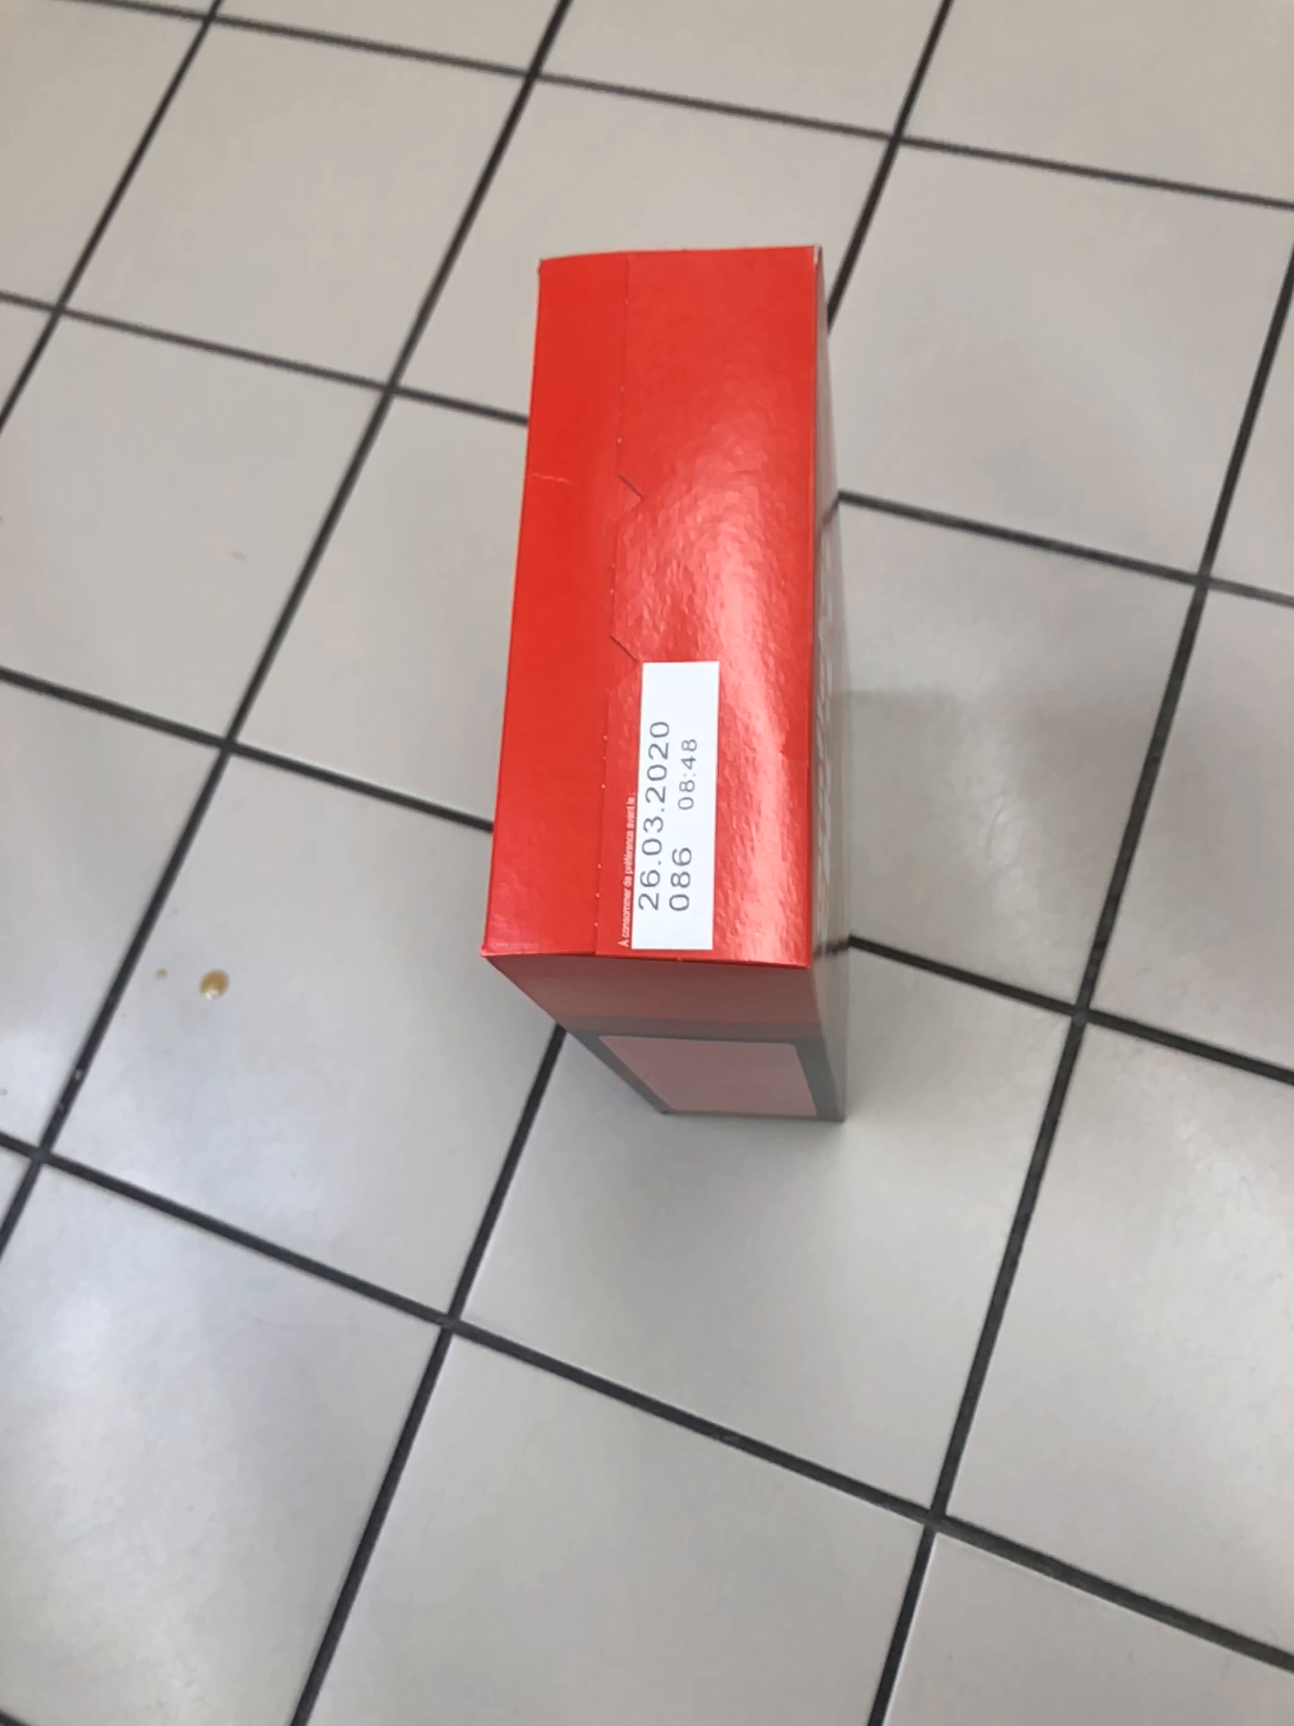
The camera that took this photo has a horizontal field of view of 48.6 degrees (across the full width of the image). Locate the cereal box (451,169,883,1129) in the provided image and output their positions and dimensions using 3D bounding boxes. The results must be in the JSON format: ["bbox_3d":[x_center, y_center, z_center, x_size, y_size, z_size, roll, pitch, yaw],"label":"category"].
[{"bbox_3d":[0.030,-0.034,0.461,0.090,0.280,0.200,0,73,9],"label":"cereal box"}]
